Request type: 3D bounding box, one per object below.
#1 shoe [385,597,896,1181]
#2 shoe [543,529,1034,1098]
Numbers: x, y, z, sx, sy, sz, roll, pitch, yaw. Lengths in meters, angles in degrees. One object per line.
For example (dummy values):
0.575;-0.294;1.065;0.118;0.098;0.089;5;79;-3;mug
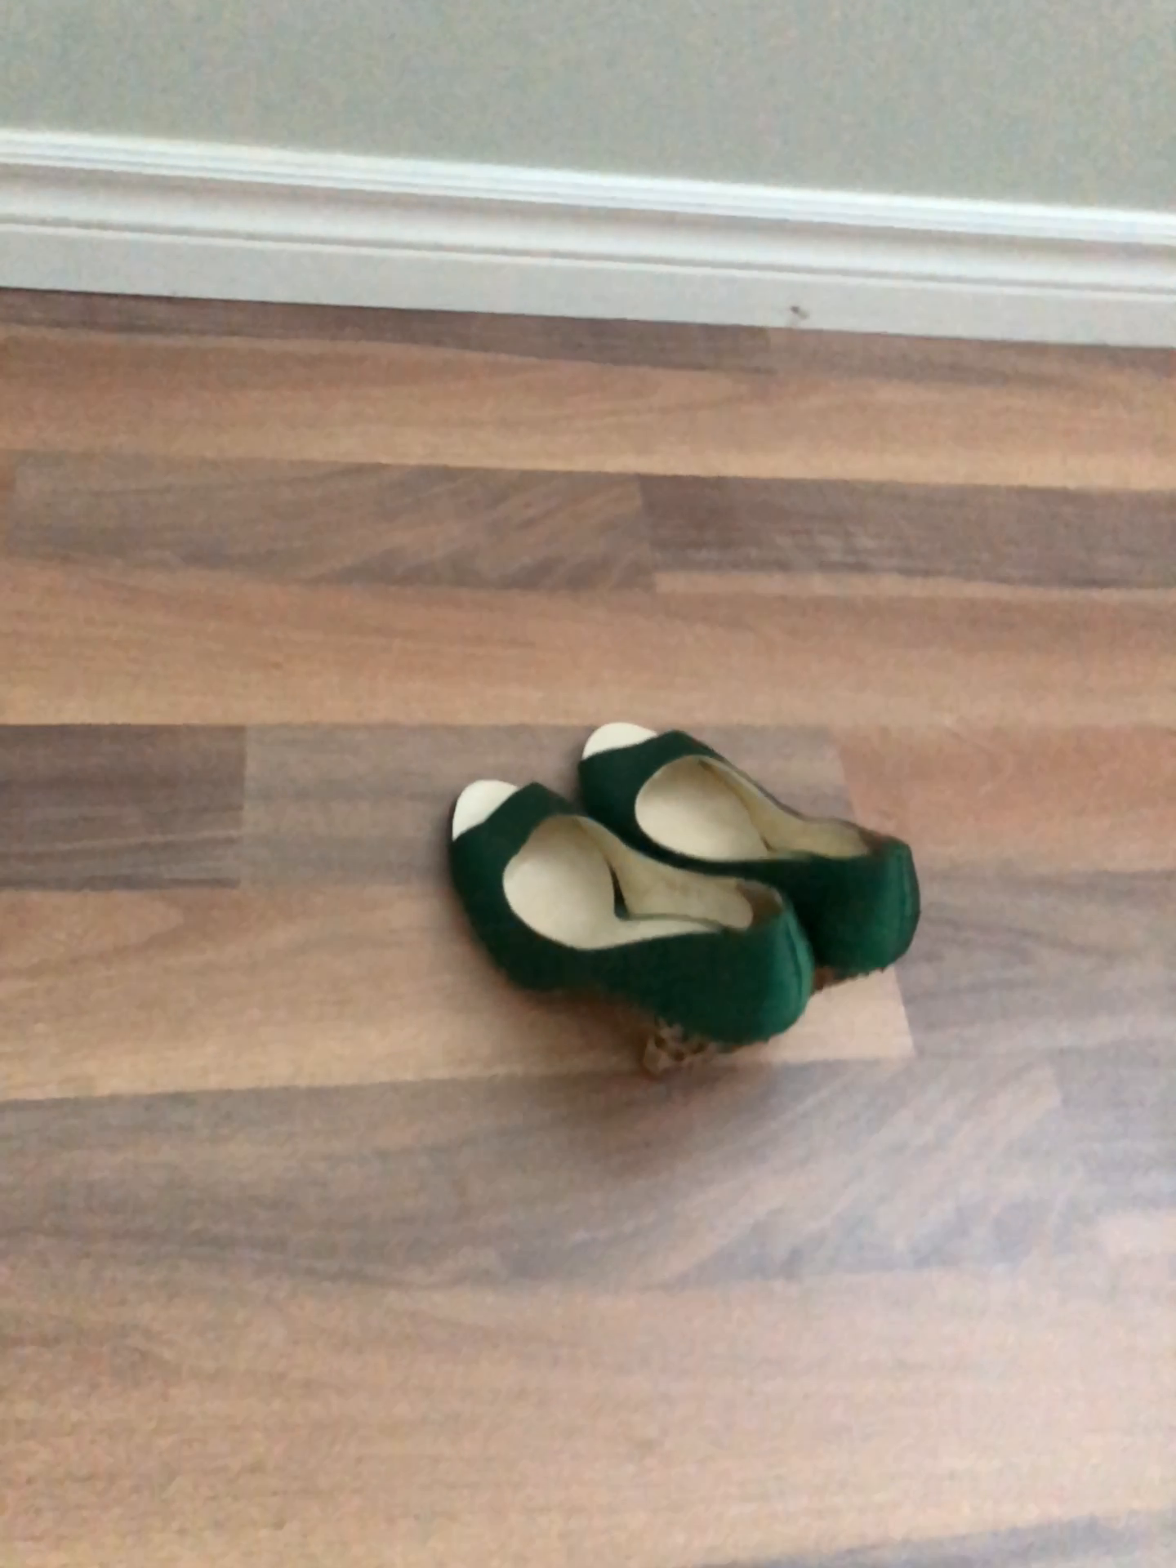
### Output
0.010;0.046;0.571;0.090;0.130;0.210;-32;67;-27;shoe
0.078;0.012;0.595;0.090;0.130;0.210;-23;64;-23;shoe
